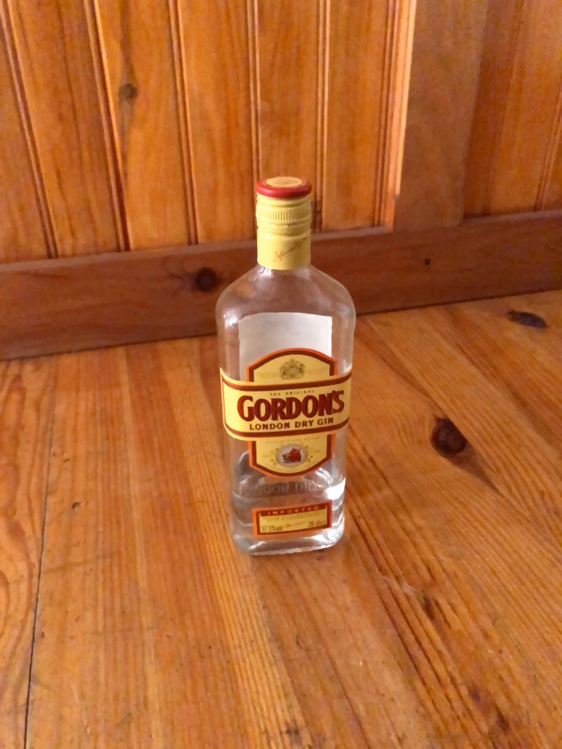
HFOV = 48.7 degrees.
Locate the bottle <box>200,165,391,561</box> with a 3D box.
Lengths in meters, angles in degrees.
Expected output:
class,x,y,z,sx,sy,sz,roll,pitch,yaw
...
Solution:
class,x,y,z,sx,sy,sz,roll,pitch,yaw
bottle,0.005,0.004,0.379,0.090,0.239,0.060,-4,32,-5
